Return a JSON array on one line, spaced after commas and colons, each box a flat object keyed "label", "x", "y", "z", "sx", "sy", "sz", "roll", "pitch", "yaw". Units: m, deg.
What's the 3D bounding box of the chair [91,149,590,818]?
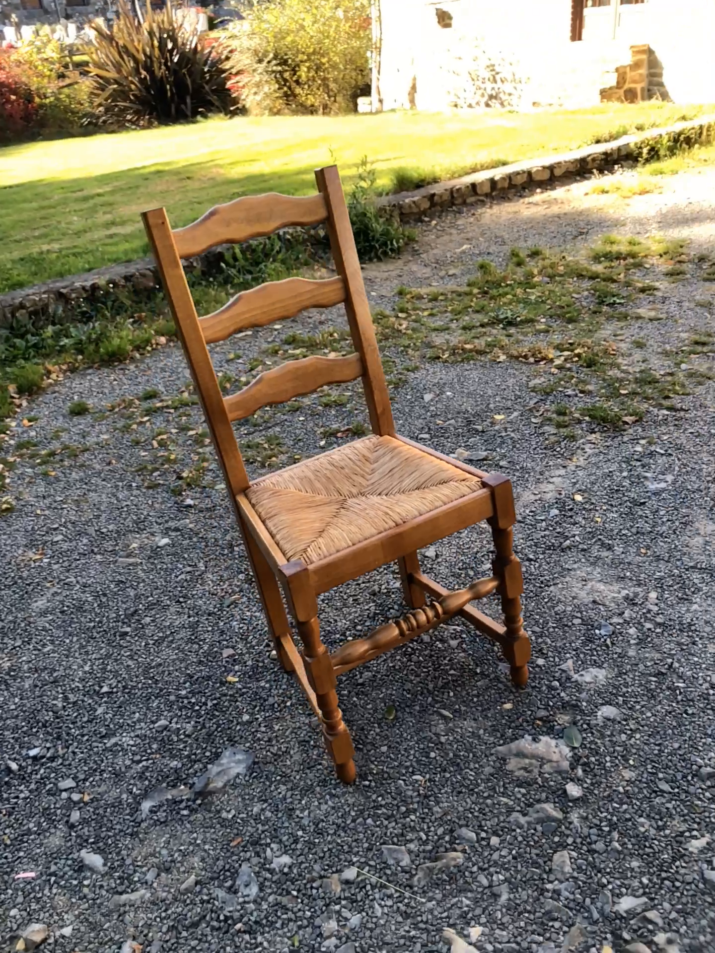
[{"label": "chair", "x": -0.002, "y": -0.035, "z": 1.335, "sx": 0.532, "sy": 0.885, "sz": 0.521, "roll": -22, "pitch": 29, "yaw": -22}]
